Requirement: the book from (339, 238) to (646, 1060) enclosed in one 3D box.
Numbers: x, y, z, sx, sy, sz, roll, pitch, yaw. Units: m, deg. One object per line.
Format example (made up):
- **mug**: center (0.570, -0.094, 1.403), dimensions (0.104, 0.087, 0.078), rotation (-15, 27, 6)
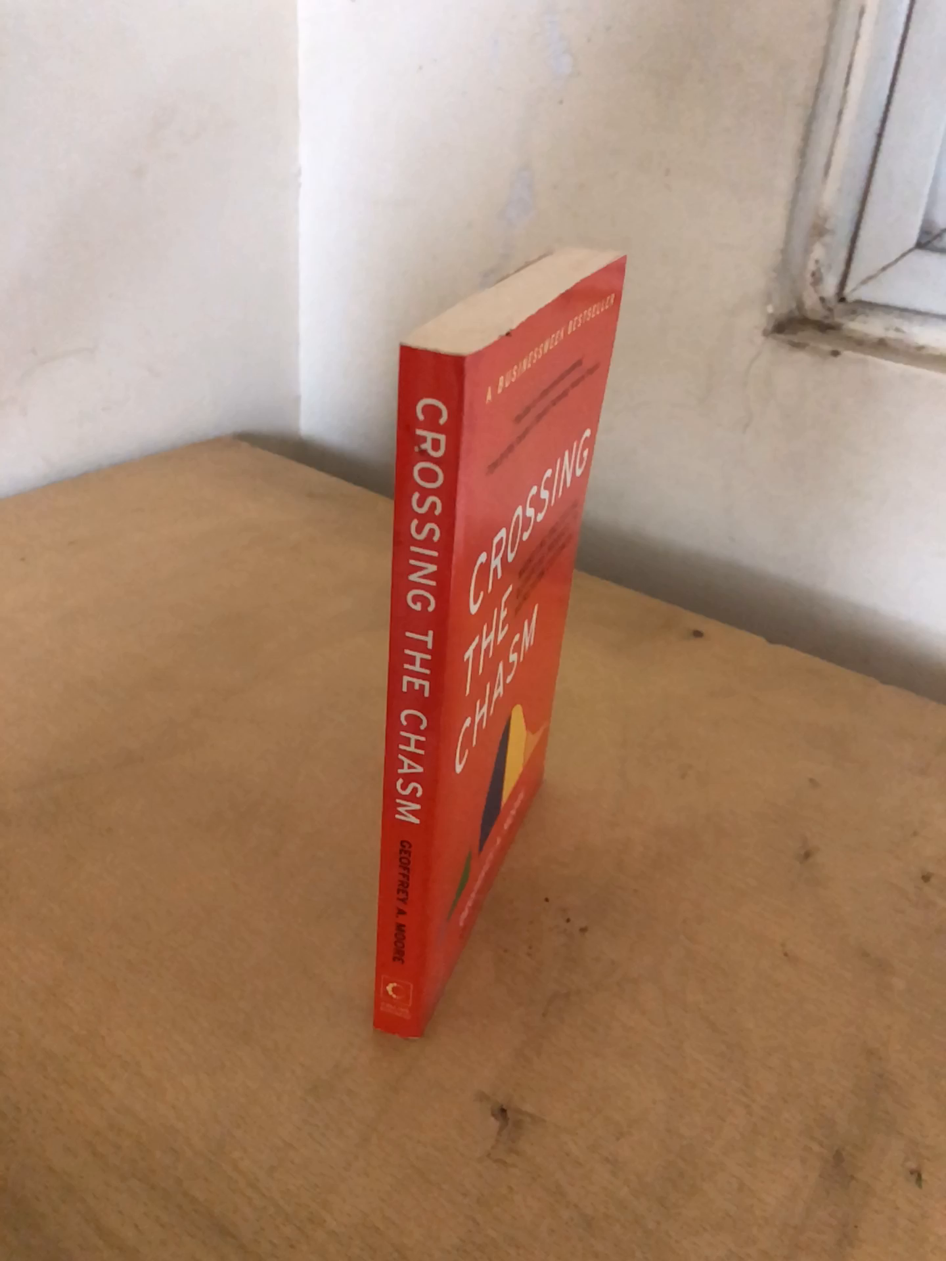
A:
- **book**: center (0.008, -0.003, 0.323), dimensions (0.030, 0.199, 0.161), rotation (13, 30, 15)
